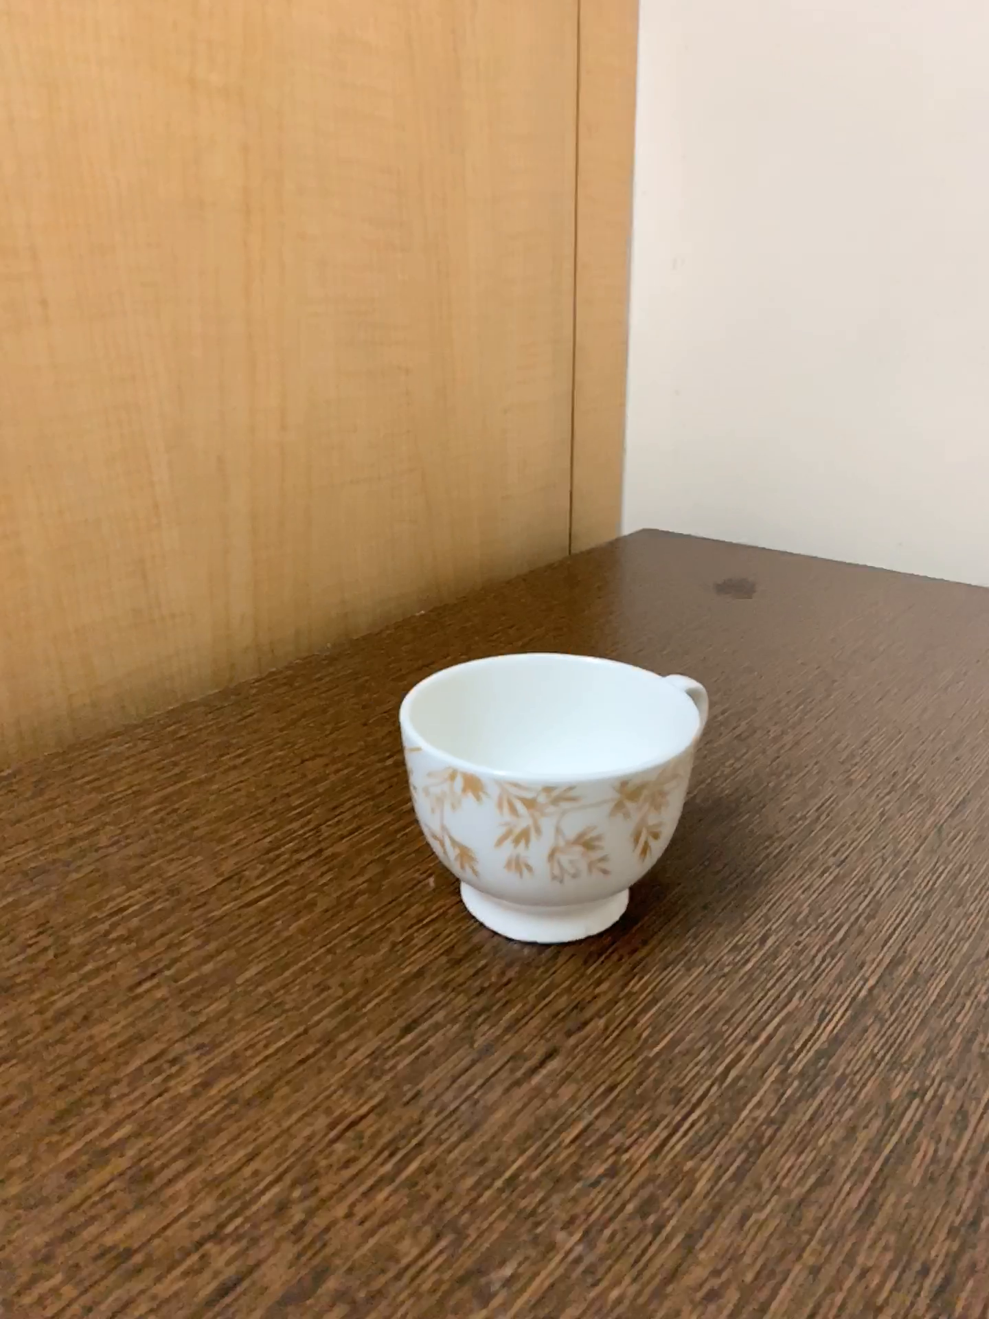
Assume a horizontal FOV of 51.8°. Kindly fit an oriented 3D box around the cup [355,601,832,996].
[{"bbox_3d":[0.028,0.028,0.277,0.080,0.050,0.100,19,28,41],"label":"cup"}]
